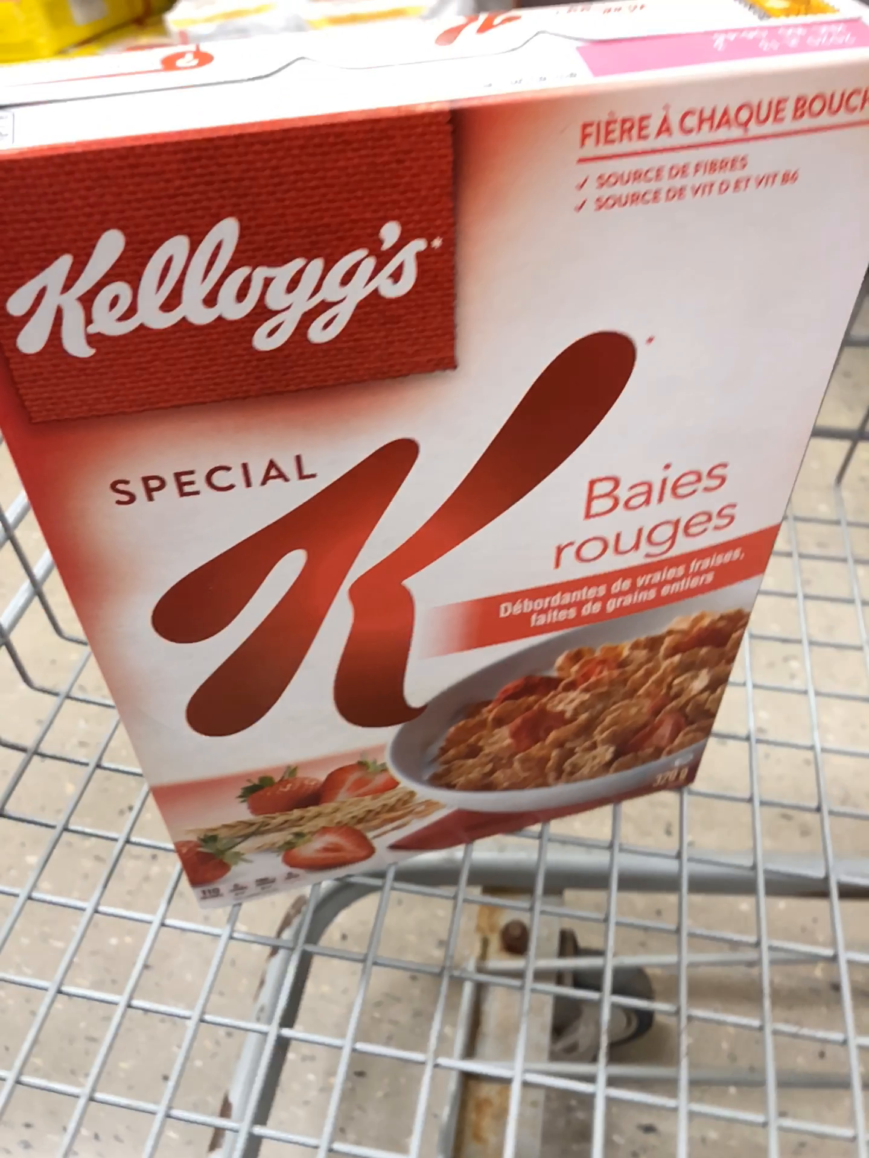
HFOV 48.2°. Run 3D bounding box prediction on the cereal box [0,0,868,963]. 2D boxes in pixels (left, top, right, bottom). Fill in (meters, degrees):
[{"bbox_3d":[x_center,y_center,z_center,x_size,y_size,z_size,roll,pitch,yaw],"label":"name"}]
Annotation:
[{"bbox_3d":[-0.003,-0.003,0.276,0.210,0.269,0.050,-11,44,-10],"label":"cereal box"}]
